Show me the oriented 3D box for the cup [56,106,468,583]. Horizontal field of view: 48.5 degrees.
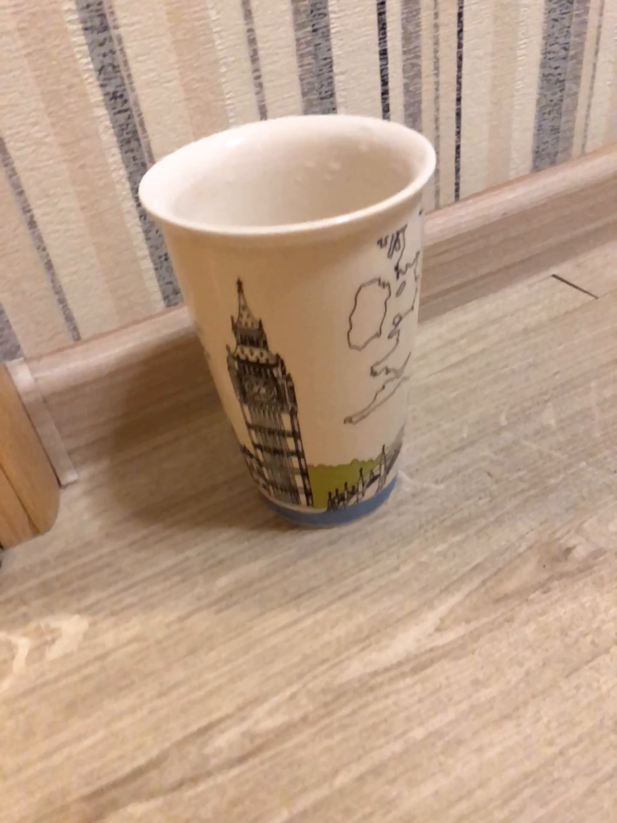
[{"bbox_3d":[-0.004,-0.029,0.260,0.095,0.132,0.097,-5,40,4],"label":"cup"}]
